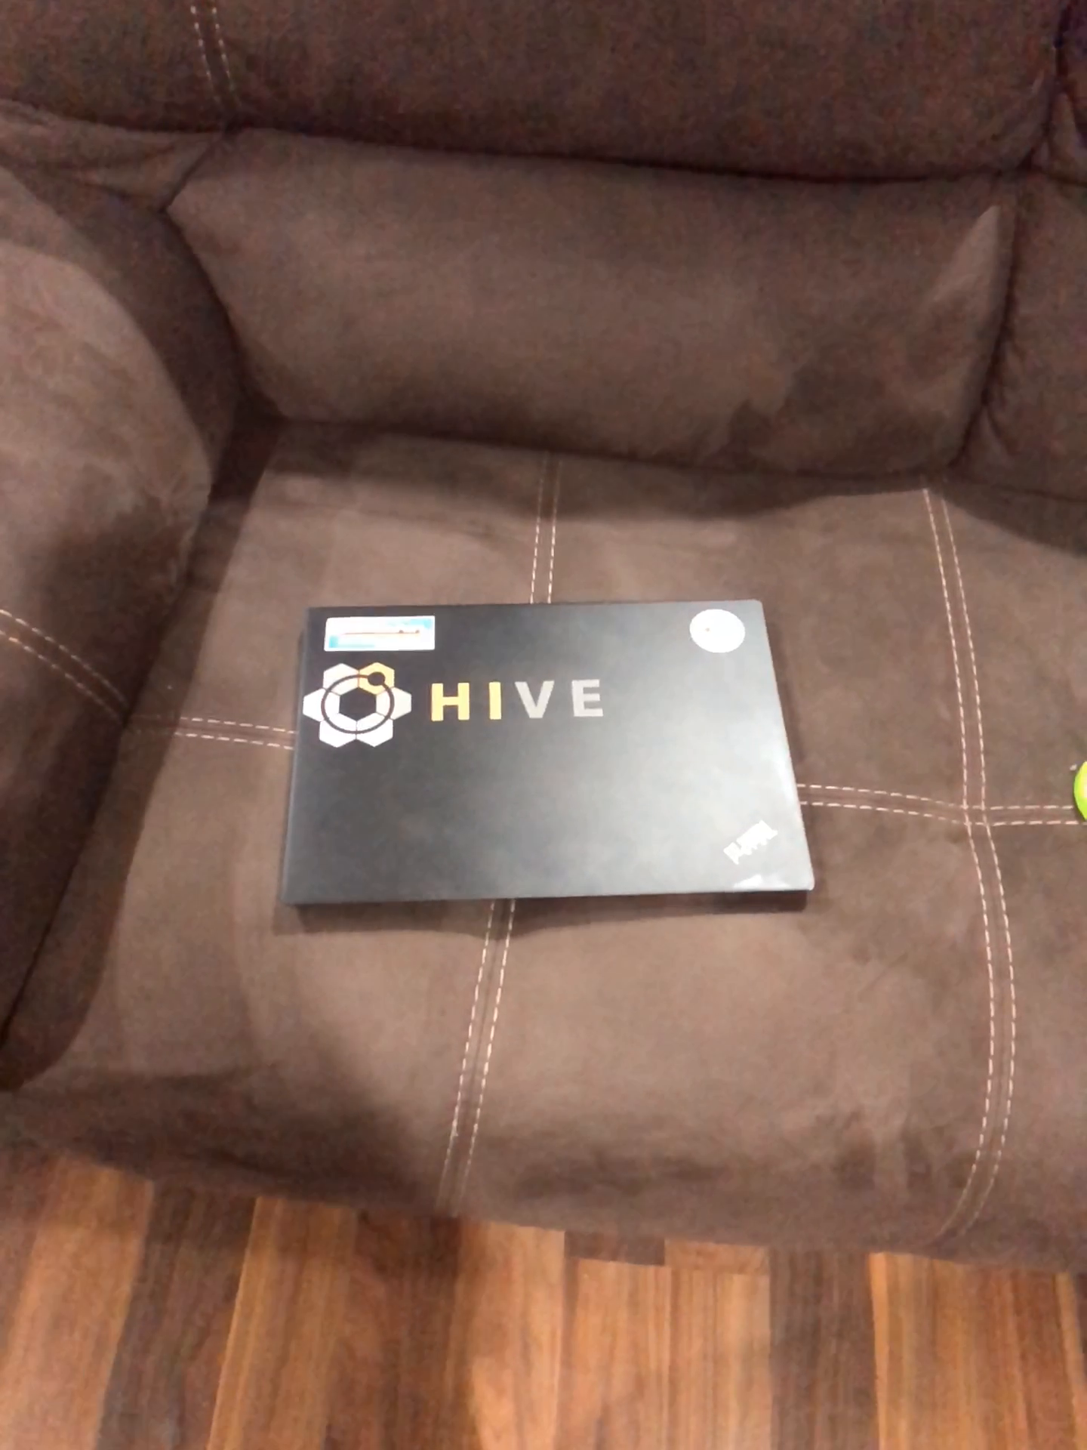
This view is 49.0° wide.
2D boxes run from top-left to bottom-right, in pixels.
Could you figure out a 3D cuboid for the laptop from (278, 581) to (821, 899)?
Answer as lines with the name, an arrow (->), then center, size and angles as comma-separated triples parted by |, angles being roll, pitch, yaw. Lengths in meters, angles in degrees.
laptop -> 0.000, 0.002, 0.795 | 0.328, 0.019, 0.236 | -1, 56, -1
